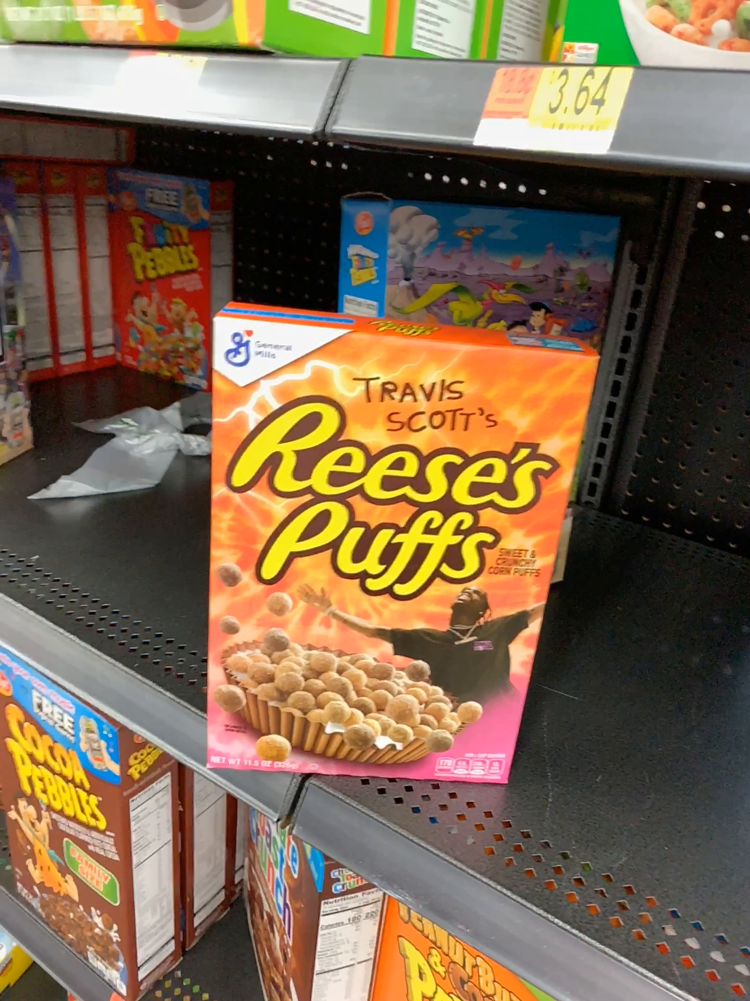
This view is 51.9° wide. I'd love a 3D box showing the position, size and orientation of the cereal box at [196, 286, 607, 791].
[{"bbox_3d":[0.002,0.034,0.452,0.200,0.289,0.050,4,23,-3],"label":"cereal box"}]
